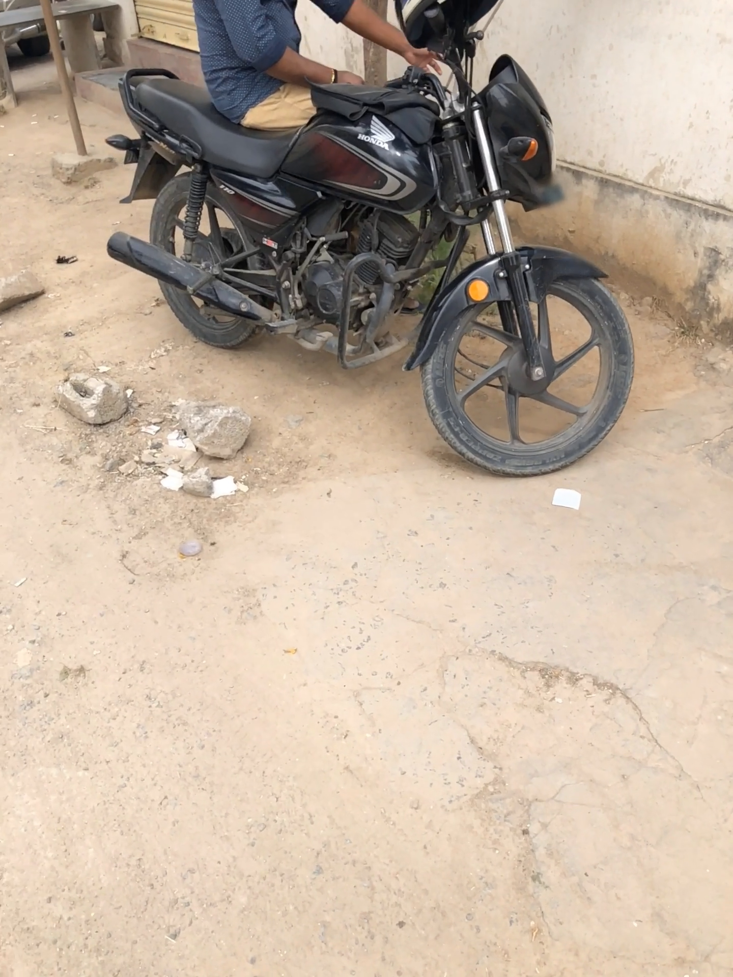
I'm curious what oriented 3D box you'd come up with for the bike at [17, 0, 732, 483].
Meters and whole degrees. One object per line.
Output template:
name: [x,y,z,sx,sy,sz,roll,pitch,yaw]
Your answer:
bike: [0.025,-0.861,2.394,1.664,1.069,0.725,18,42,24]
